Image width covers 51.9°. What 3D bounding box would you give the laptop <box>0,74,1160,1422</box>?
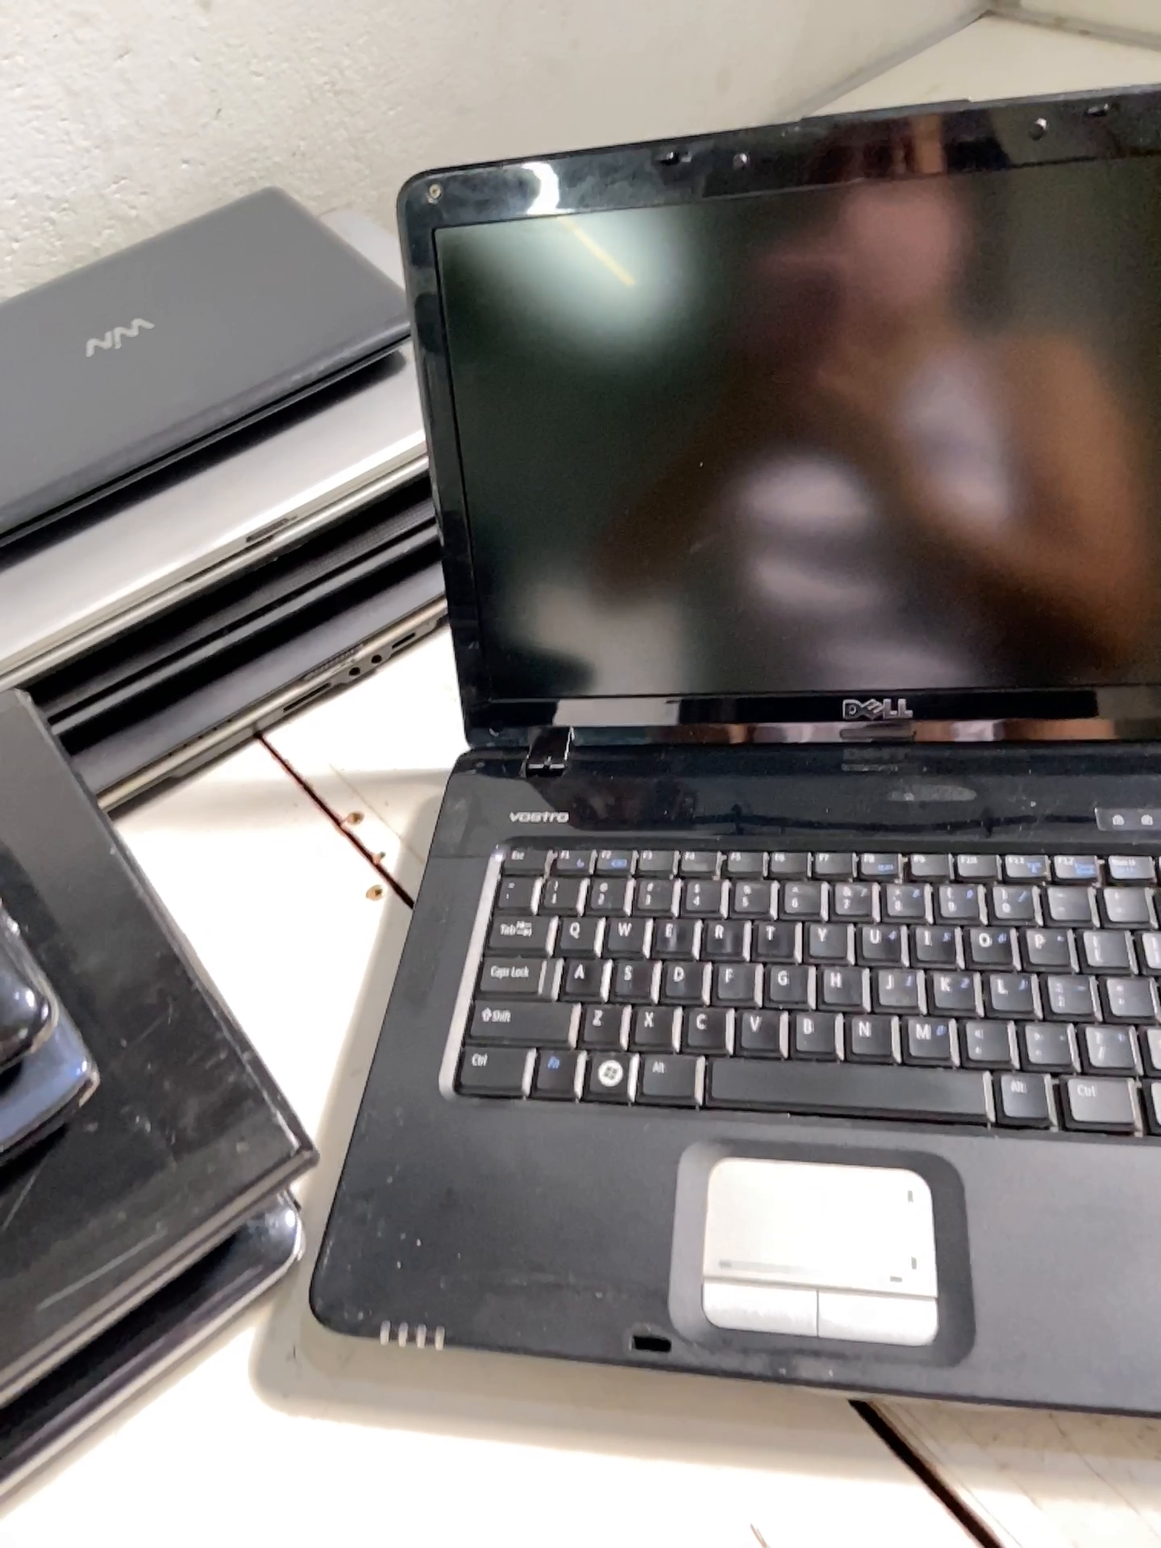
[{"bbox_3d":[0.105,-0.029,0.388,0.364,0.203,0.354,-1,48,13],"label":"laptop"}]
